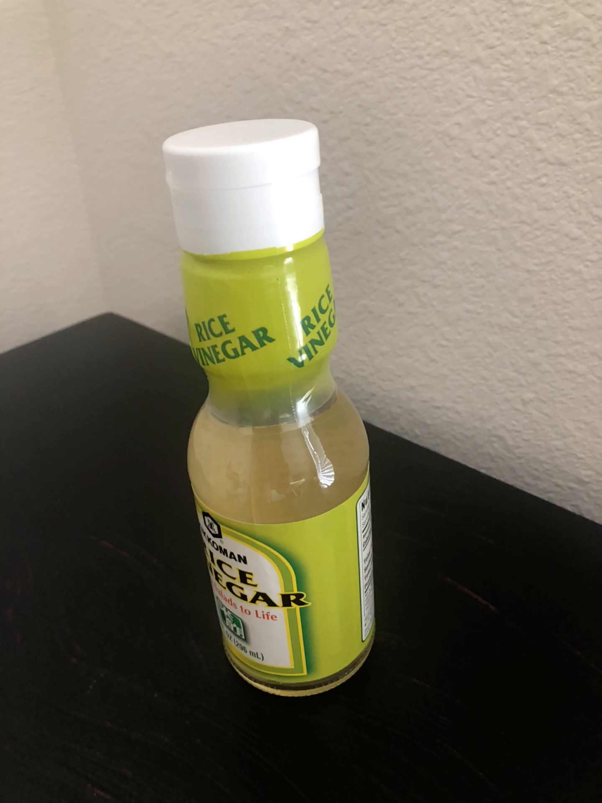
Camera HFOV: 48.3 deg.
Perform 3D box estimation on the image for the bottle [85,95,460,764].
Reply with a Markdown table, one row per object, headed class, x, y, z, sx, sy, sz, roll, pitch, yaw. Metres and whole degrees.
| class | x | y | z | sx | sy | sz | roll | pitch | yaw |
| --- | --- | --- | --- | --- | --- | --- | --- | --- | --- |
| bottle | -0.003 | 0.013 | 0.223 | 0.070 | 0.199 | 0.070 | -3 | 30 | 2 |
